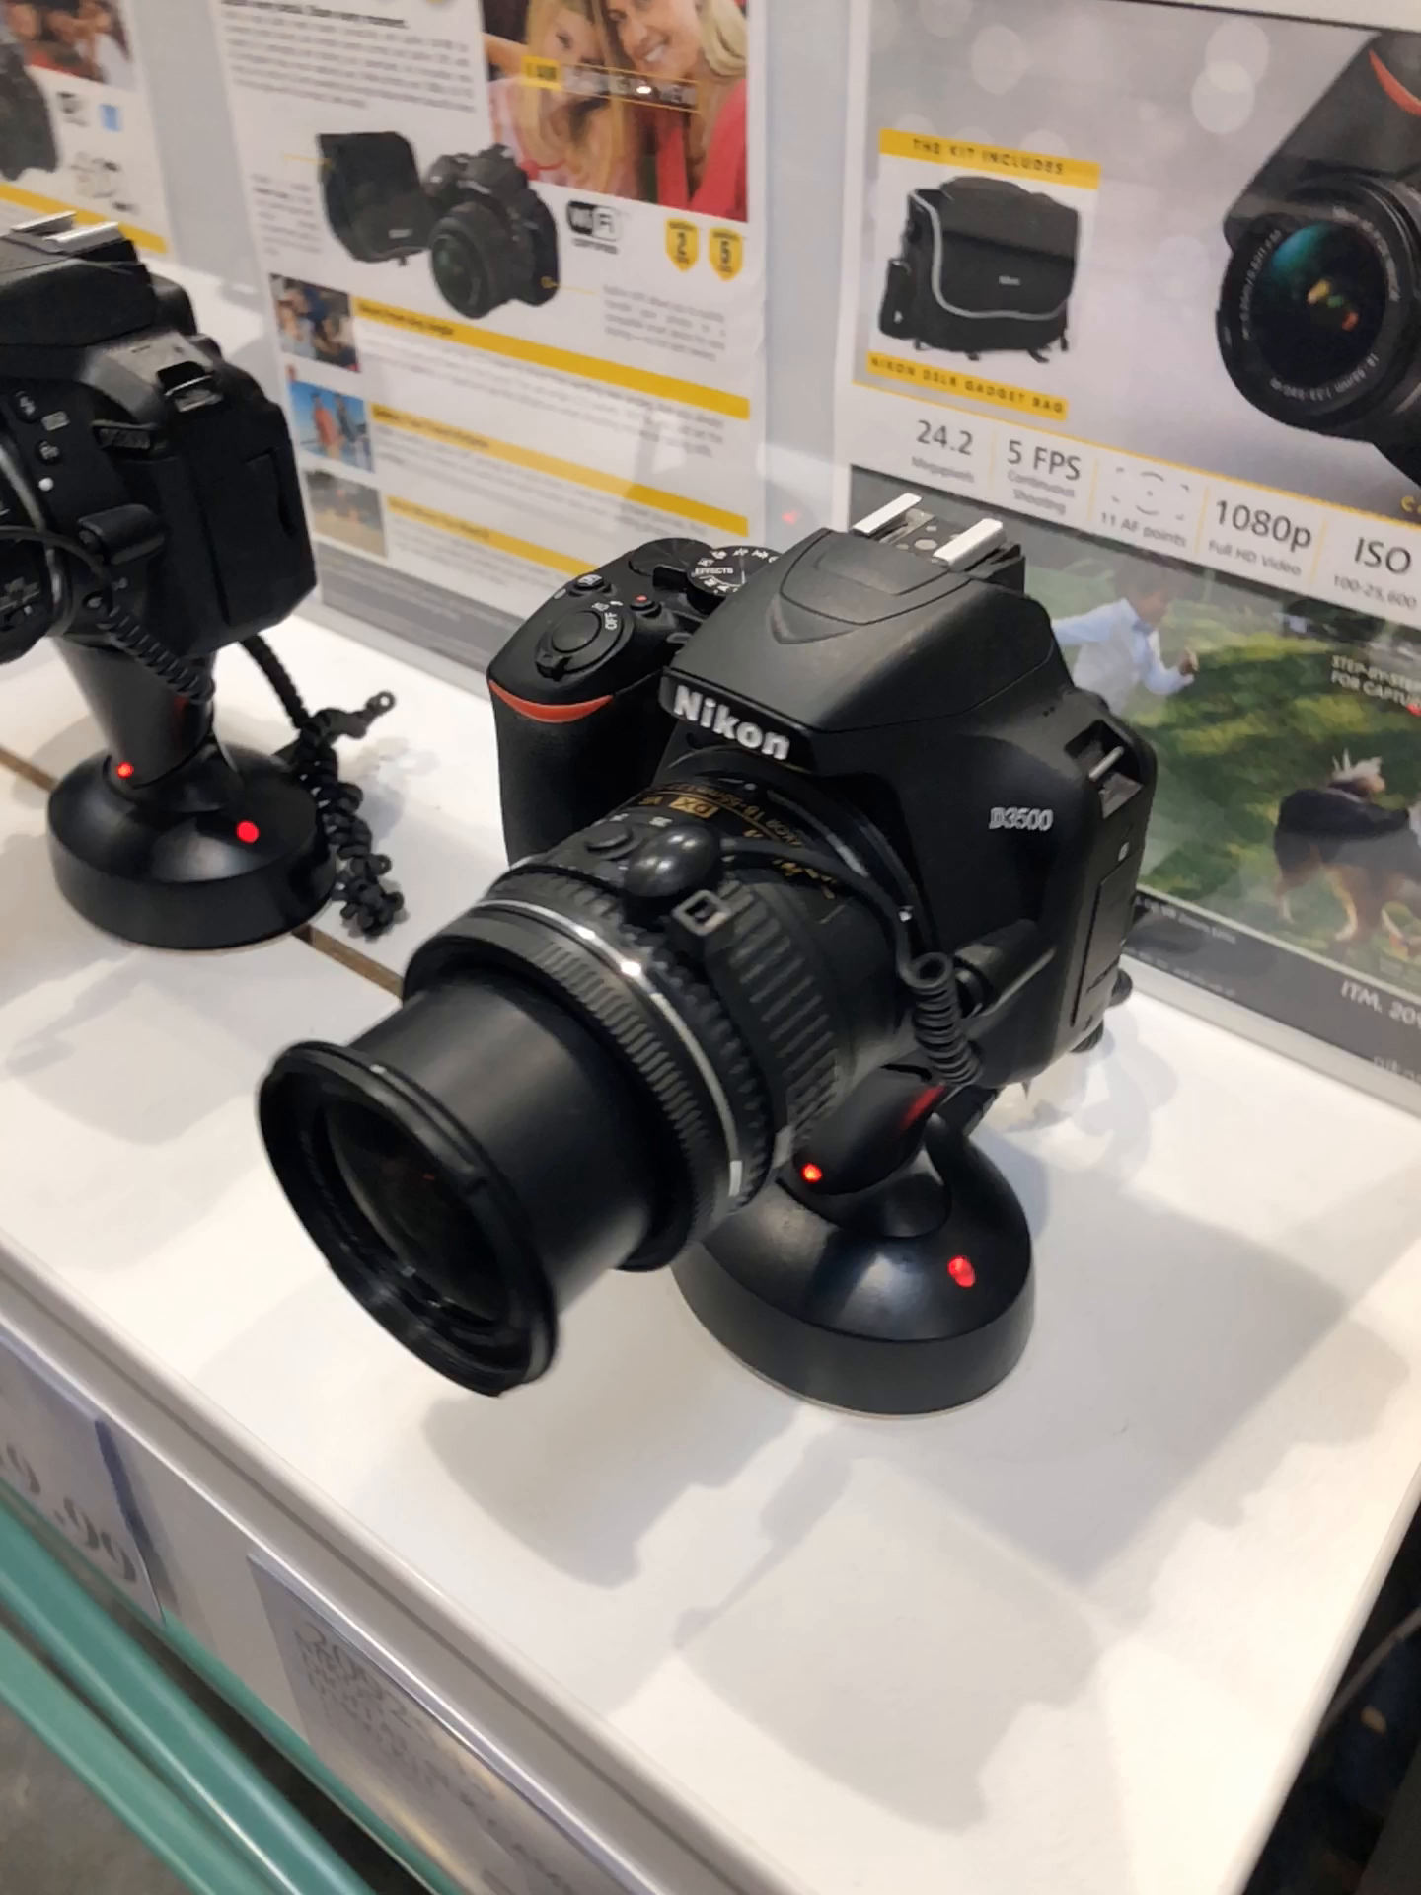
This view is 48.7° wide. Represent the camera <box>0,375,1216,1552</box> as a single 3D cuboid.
[{"bbox_3d":[-0.018,-0.014,0.257,0.130,0.089,0.141,27,47,28],"label":"camera"}]
